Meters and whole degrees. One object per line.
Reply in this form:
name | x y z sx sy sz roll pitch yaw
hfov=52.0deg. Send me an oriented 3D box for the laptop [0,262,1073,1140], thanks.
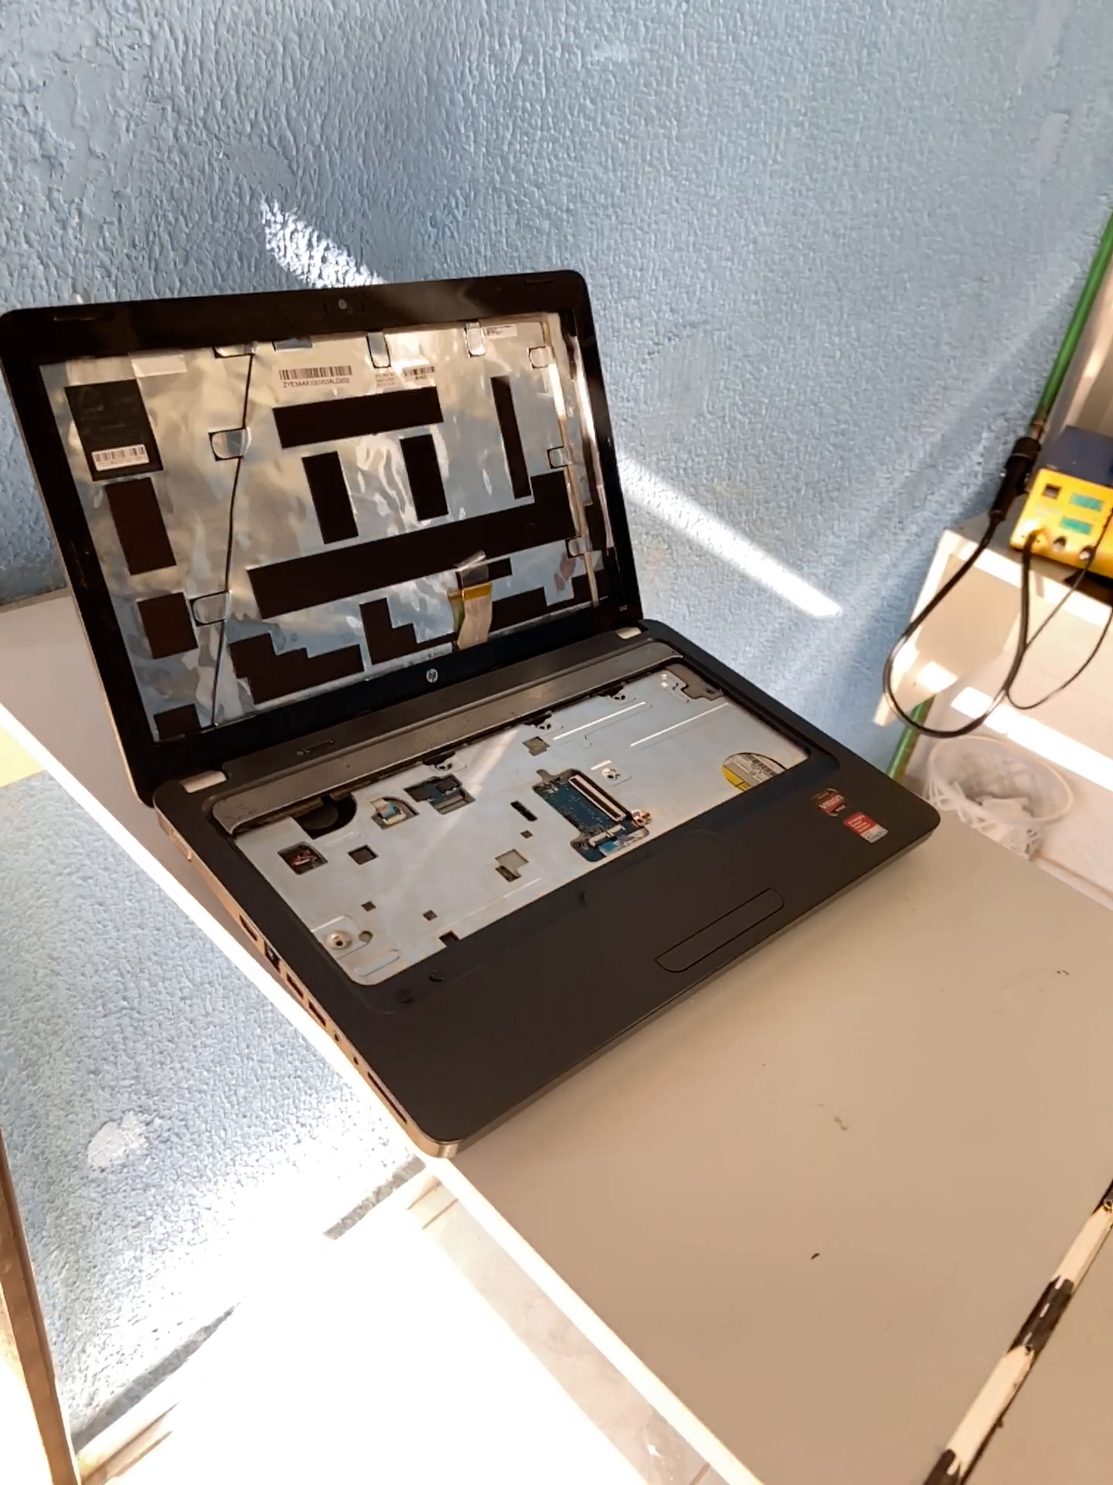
laptop | -0.020 -0.075 0.553 0.339 0.179 0.349 -22 48 -38
